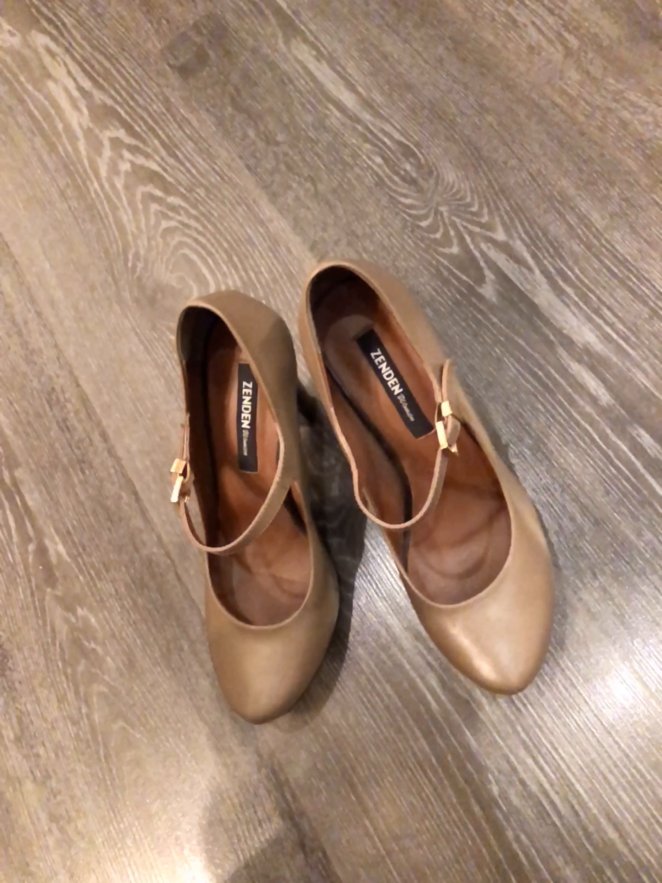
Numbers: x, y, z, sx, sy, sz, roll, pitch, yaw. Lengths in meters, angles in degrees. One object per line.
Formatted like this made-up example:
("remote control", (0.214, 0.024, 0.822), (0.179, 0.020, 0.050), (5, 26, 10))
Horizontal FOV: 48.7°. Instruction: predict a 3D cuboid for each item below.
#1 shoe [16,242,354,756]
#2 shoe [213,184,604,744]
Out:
("shoe", (-0.058, 0.035, 0.389), (0.090, 0.150, 0.220), (-1, 73, 18))
("shoe", (0.041, 0.020, 0.361), (0.090, 0.160, 0.211), (-23, 68, 10))
